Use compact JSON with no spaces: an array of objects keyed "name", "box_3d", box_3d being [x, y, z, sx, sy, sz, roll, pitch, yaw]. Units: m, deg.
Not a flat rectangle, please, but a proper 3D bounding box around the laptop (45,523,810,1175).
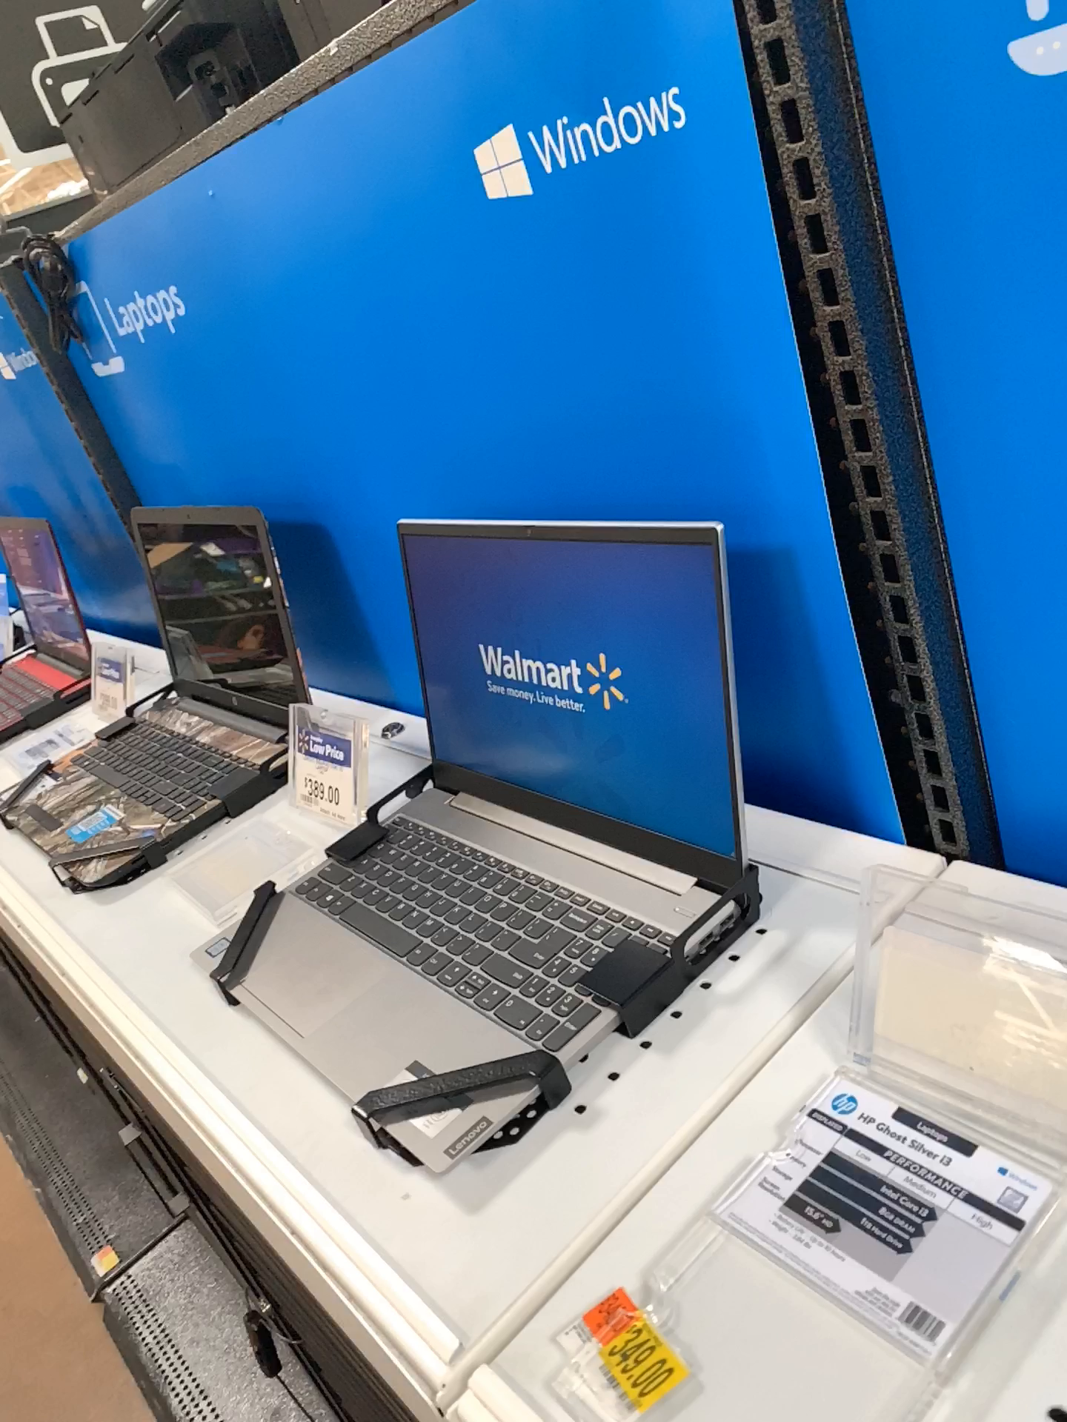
[{"name":"laptop","box_3d":[-0.079,0.042,0.709,0.298,0.217,0.352,-34,26,-28]}]
